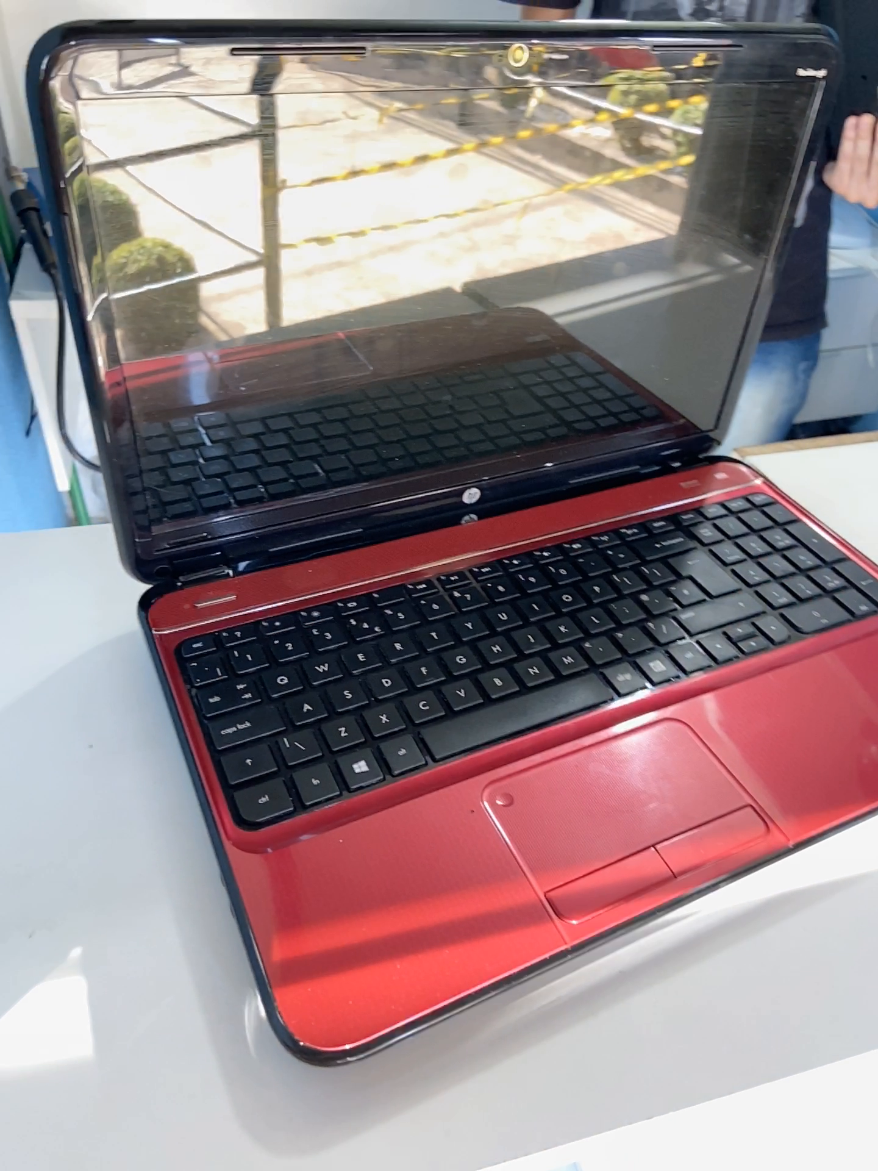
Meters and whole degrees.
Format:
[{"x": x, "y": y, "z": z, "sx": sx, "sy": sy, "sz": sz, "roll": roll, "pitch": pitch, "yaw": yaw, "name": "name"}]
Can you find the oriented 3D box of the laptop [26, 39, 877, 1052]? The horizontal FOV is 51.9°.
[{"x": 0.074, "y": -0.057, "z": 0.343, "sx": 0.357, "sy": 0.220, "sz": 0.228, "roll": -15, "pitch": 42, "yaw": -21, "name": "laptop"}]
